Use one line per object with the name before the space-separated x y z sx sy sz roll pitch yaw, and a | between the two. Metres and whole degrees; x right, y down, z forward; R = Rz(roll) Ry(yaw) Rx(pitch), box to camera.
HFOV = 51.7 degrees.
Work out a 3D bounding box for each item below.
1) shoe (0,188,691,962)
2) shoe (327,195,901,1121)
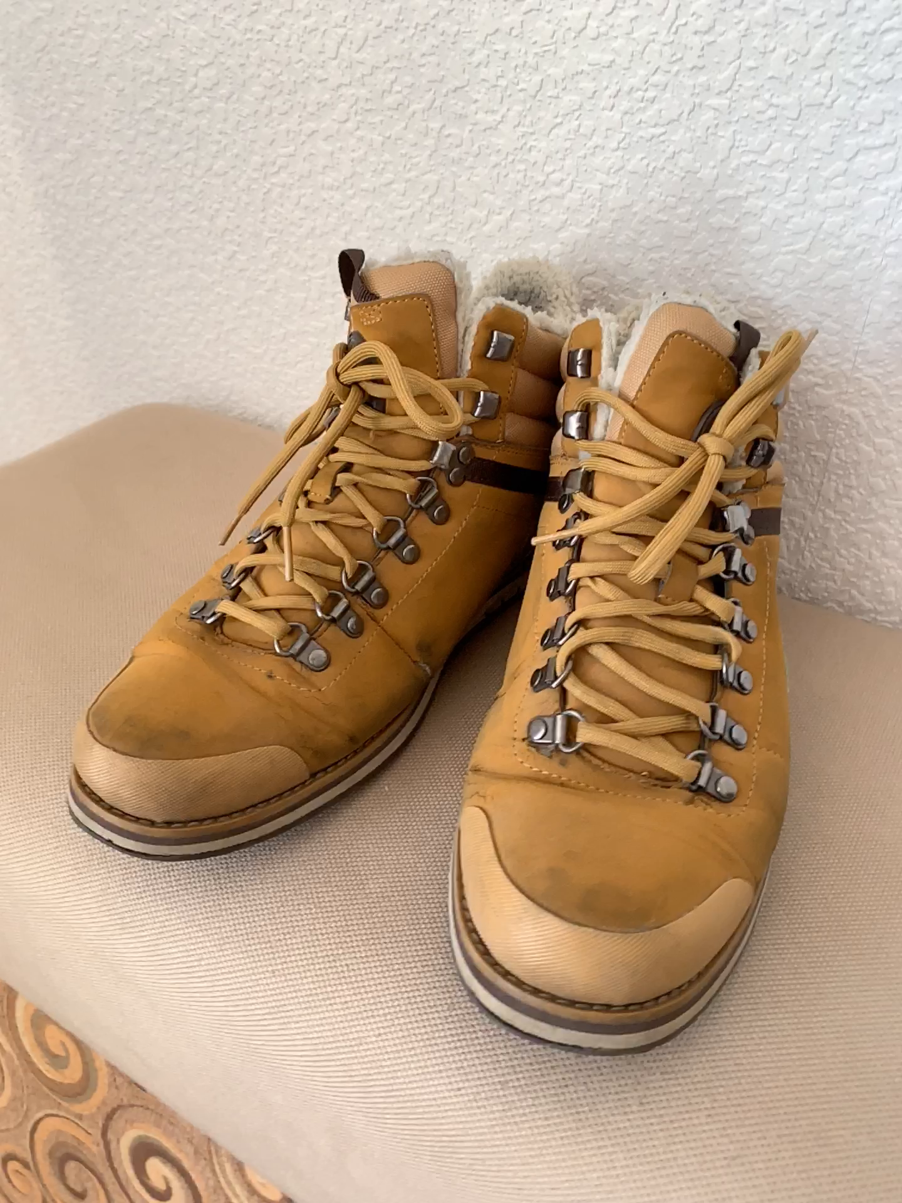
shoe | -0.034 -0.043 0.372 0.120 0.149 0.301 23 44 27
shoe | 0.077 -0.018 0.333 0.120 0.149 0.301 10 41 13
